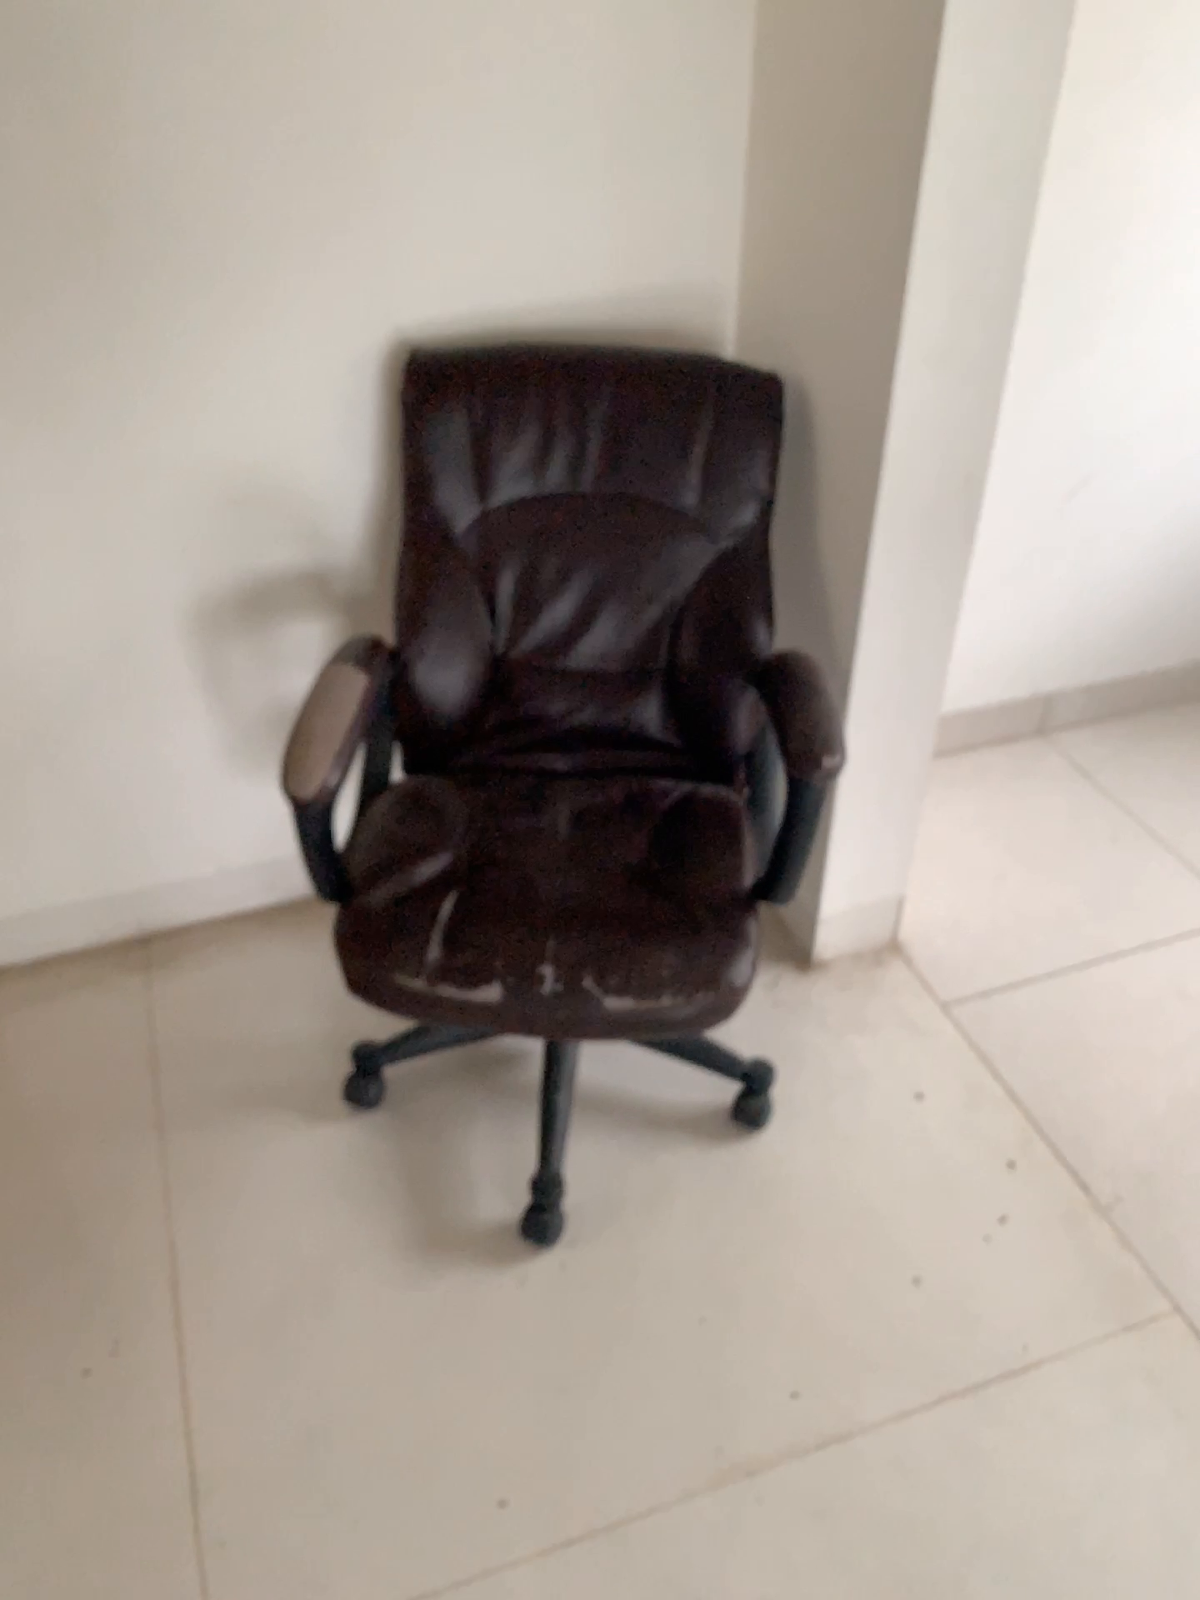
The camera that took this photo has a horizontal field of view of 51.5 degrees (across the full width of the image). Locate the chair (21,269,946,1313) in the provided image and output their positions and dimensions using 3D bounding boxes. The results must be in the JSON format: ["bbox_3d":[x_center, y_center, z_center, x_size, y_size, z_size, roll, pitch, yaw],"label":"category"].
[{"bbox_3d":[-0.069,-0.027,1.550,0.700,0.995,0.794,2,37,3],"label":"chair"}]
